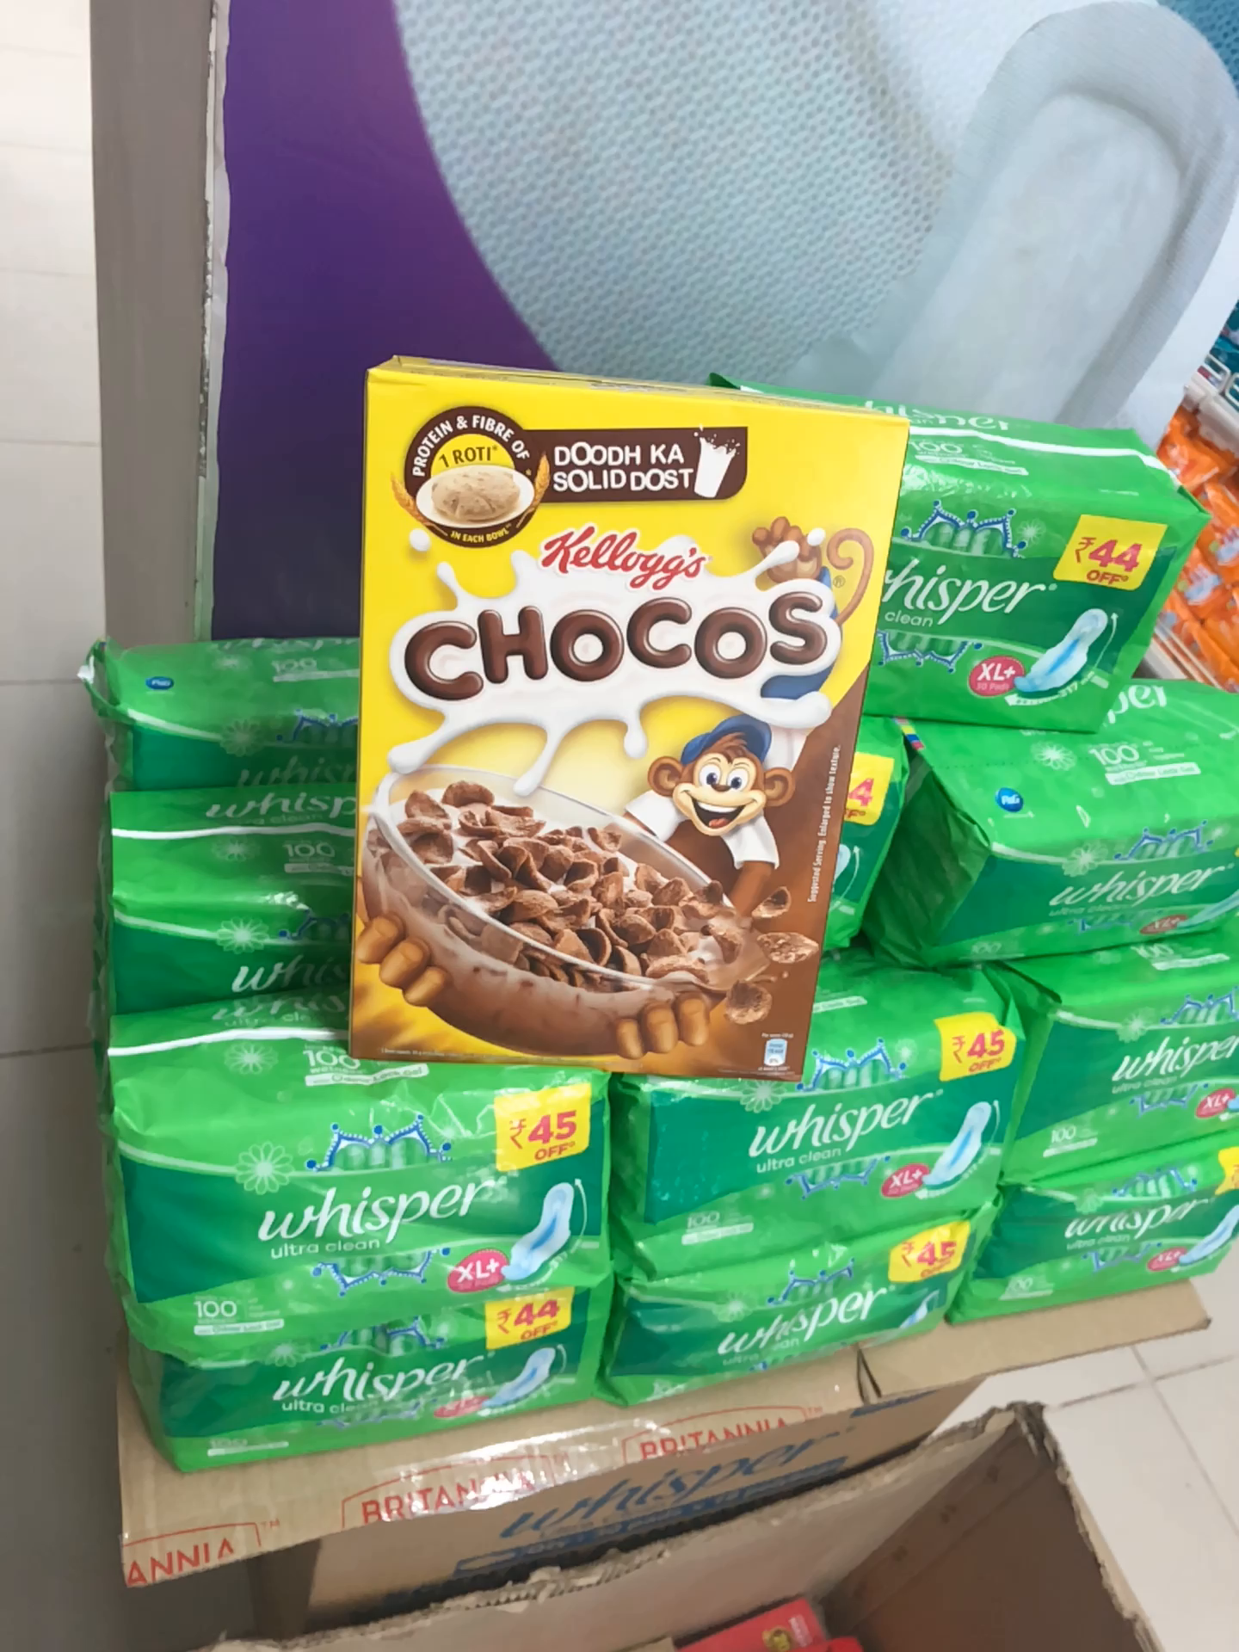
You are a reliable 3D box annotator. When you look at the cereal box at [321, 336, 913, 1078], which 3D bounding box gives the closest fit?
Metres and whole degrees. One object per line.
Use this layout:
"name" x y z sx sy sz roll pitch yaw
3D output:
"cereal box" -0.011 -0.042 0.530 0.190 0.259 0.080 4 21 -5
